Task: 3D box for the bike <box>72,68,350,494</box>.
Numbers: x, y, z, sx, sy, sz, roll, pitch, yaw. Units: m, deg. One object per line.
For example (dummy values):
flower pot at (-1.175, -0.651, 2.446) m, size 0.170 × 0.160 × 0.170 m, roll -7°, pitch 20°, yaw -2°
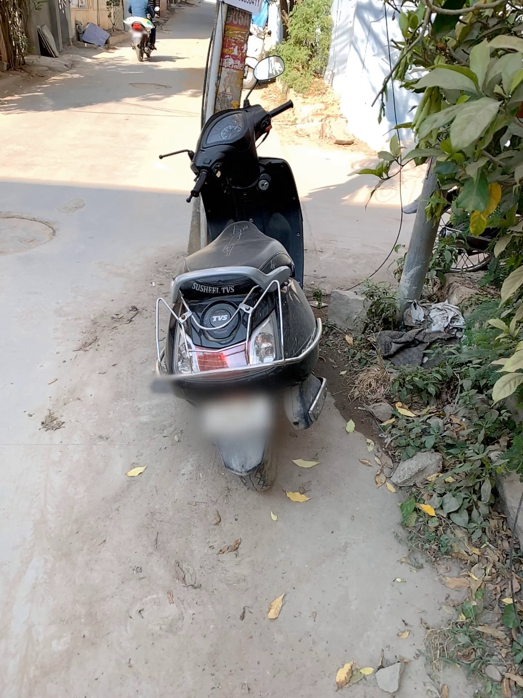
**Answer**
bike at (-0.147, -0.476, 2.183) m, size 0.618 × 0.943 × 1.827 m, roll 3°, pitch 34°, yaw -3°
